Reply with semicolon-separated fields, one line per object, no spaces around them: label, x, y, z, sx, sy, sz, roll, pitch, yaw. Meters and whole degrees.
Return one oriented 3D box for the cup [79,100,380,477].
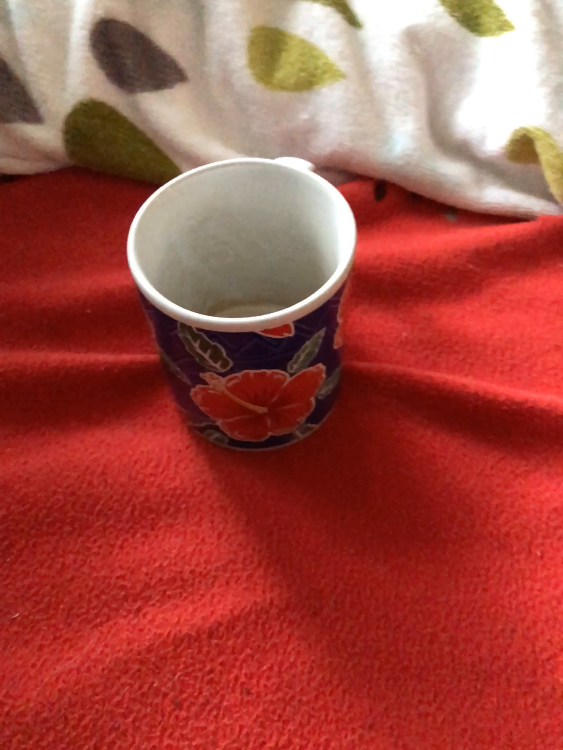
cup;-0.010;-0.038;0.271;0.090;0.100;0.121;5;54;7
